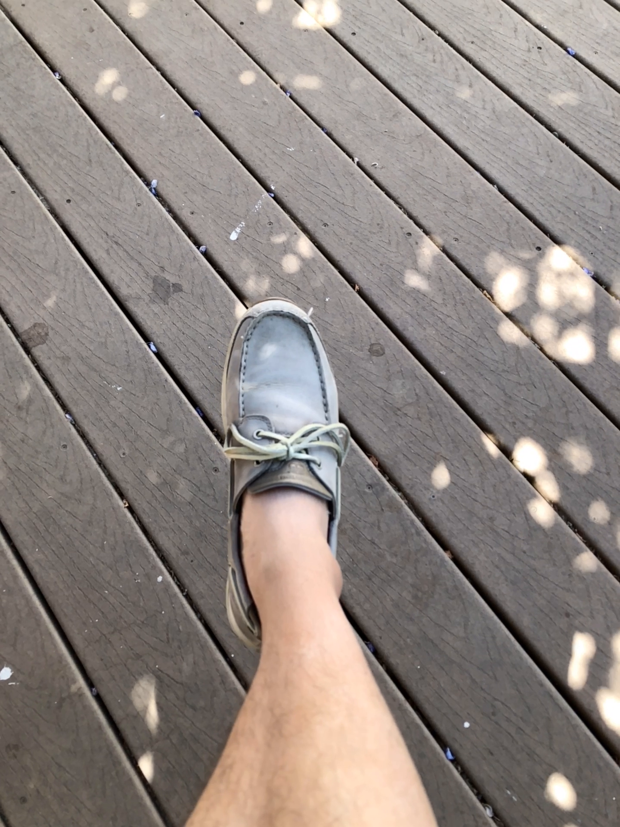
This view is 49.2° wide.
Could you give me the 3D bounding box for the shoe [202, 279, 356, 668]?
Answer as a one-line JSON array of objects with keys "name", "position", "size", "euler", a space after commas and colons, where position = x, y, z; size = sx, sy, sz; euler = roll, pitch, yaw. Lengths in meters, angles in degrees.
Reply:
[{"name": "shoe", "position": [-0.023, 0.047, 0.577], "size": [0.115, 0.085, 0.306], "euler": [-1, 79, 1]}]
